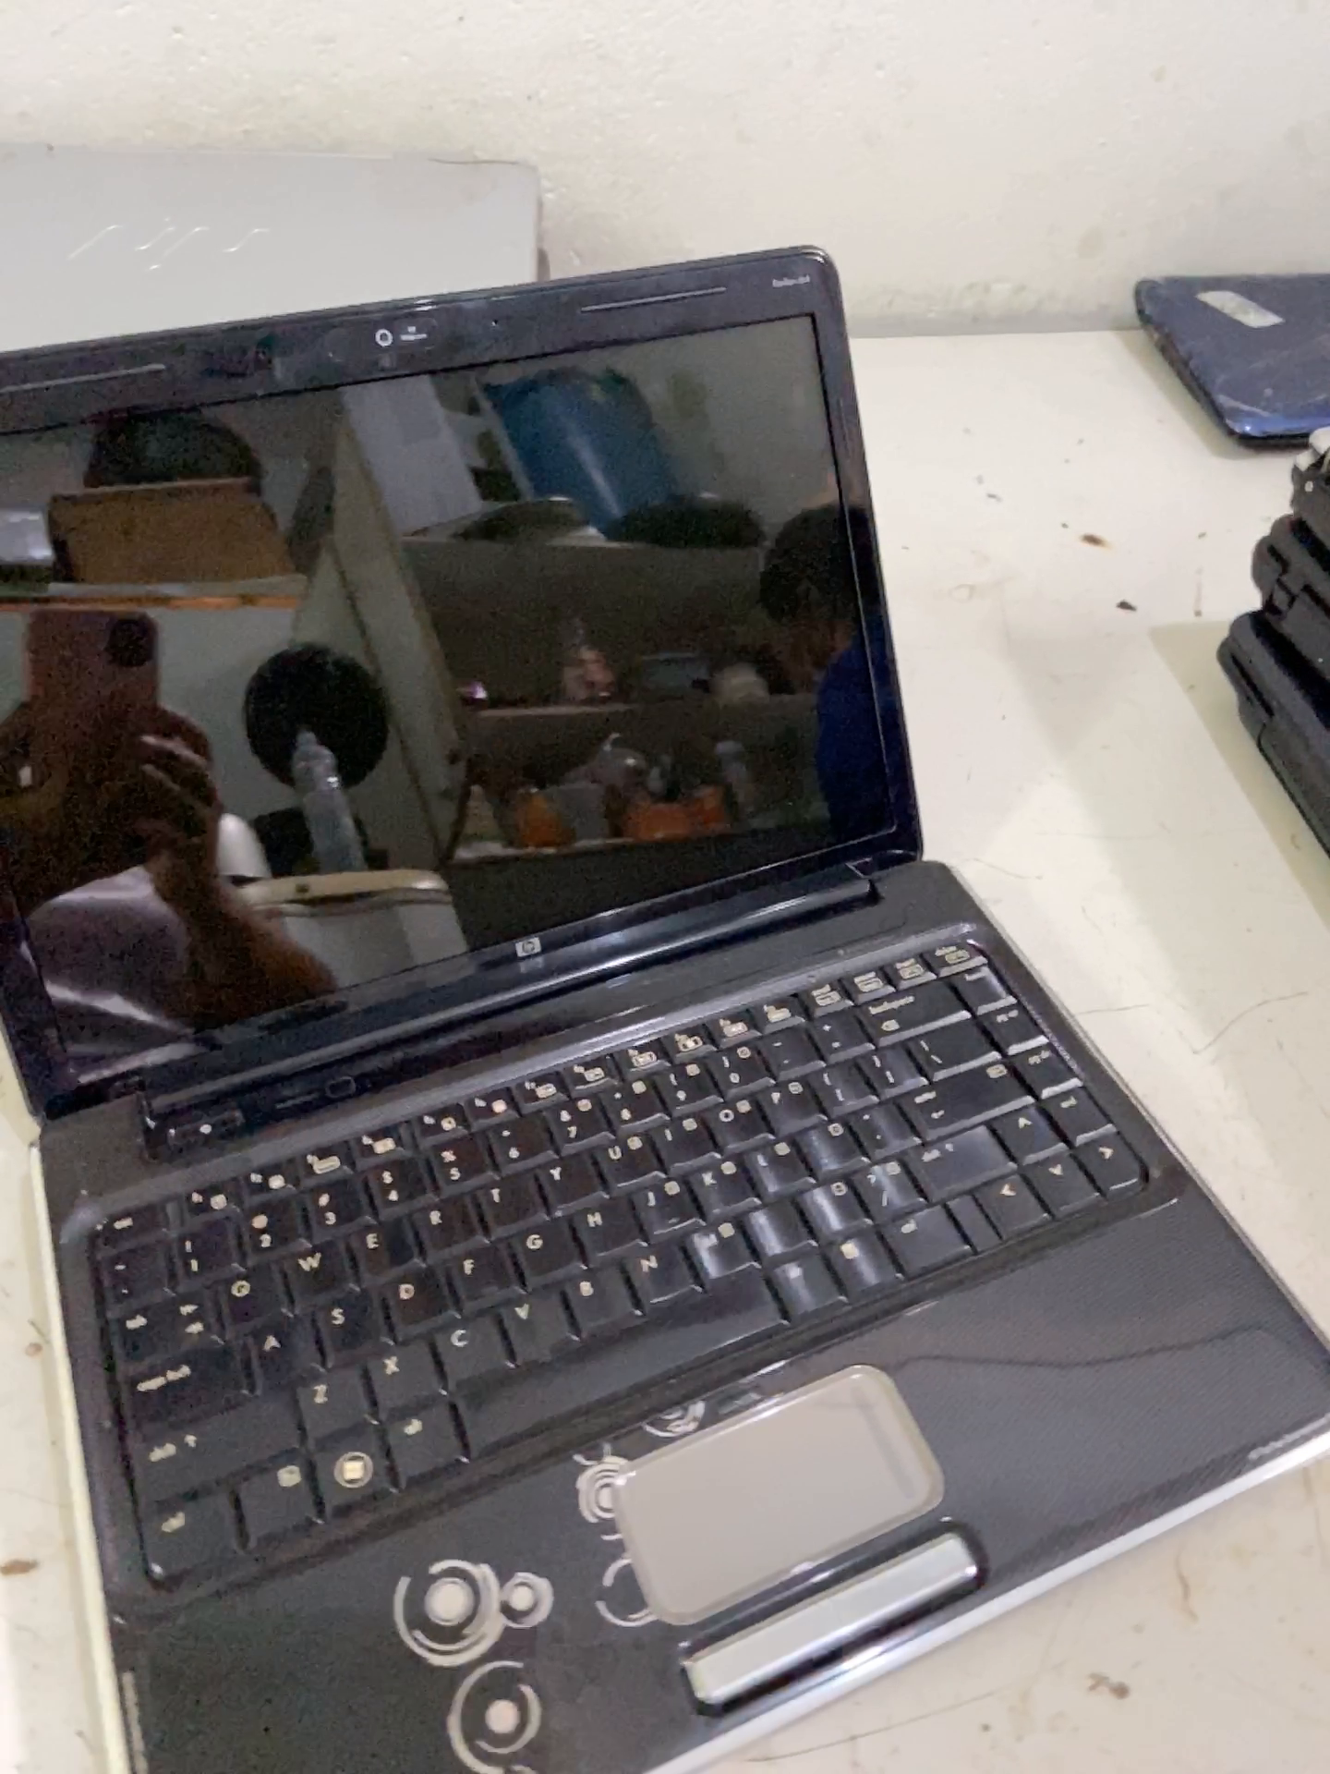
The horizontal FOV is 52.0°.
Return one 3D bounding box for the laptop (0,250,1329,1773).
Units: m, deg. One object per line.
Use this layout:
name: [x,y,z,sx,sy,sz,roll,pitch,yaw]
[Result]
laptop: [-0.021,0.003,0.385,0.331,0.175,0.373,-16,49,-17]
